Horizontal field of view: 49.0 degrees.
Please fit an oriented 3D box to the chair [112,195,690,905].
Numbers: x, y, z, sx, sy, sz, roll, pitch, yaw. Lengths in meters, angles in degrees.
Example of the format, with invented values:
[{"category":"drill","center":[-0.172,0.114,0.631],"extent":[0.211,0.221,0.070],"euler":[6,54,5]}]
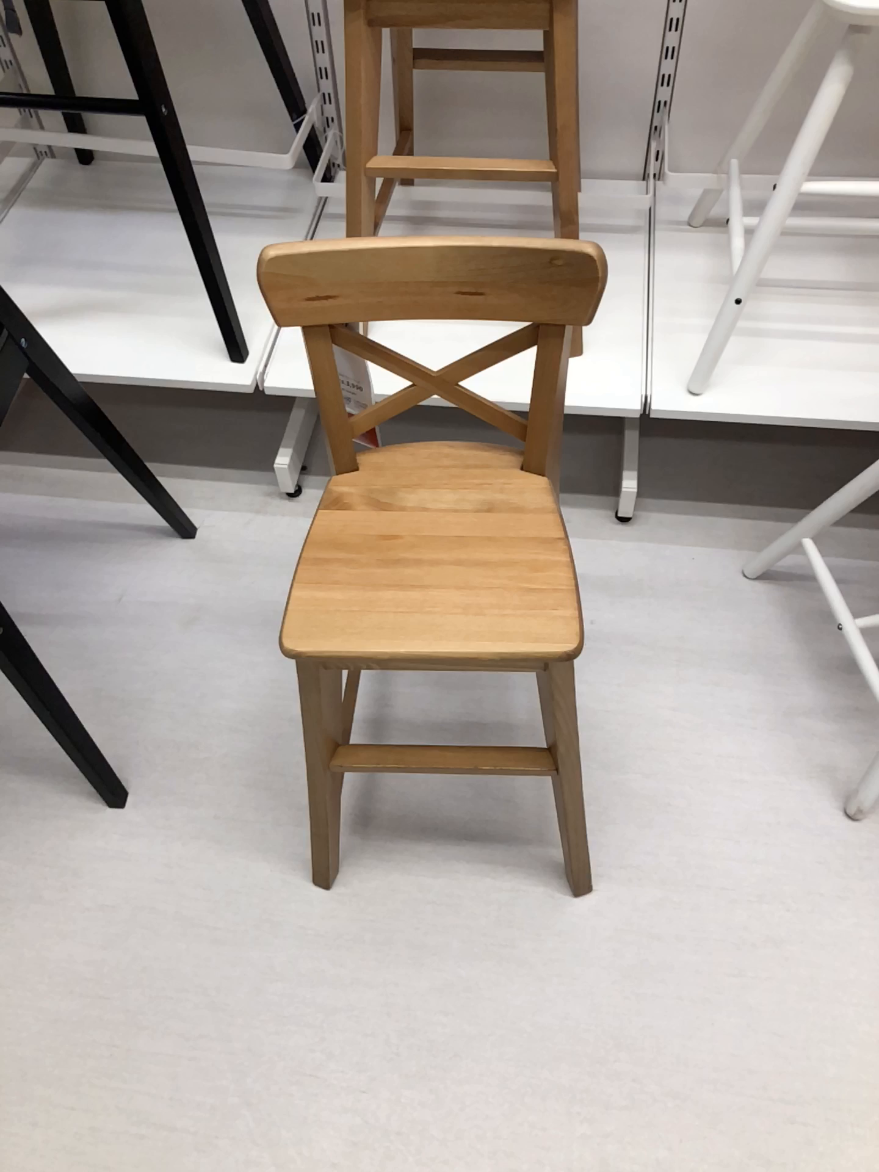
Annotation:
[{"category":"chair","center":[0.002,0.010,1.046],"extent":[0.390,0.676,0.432],"euler":[2,54,5]}]
